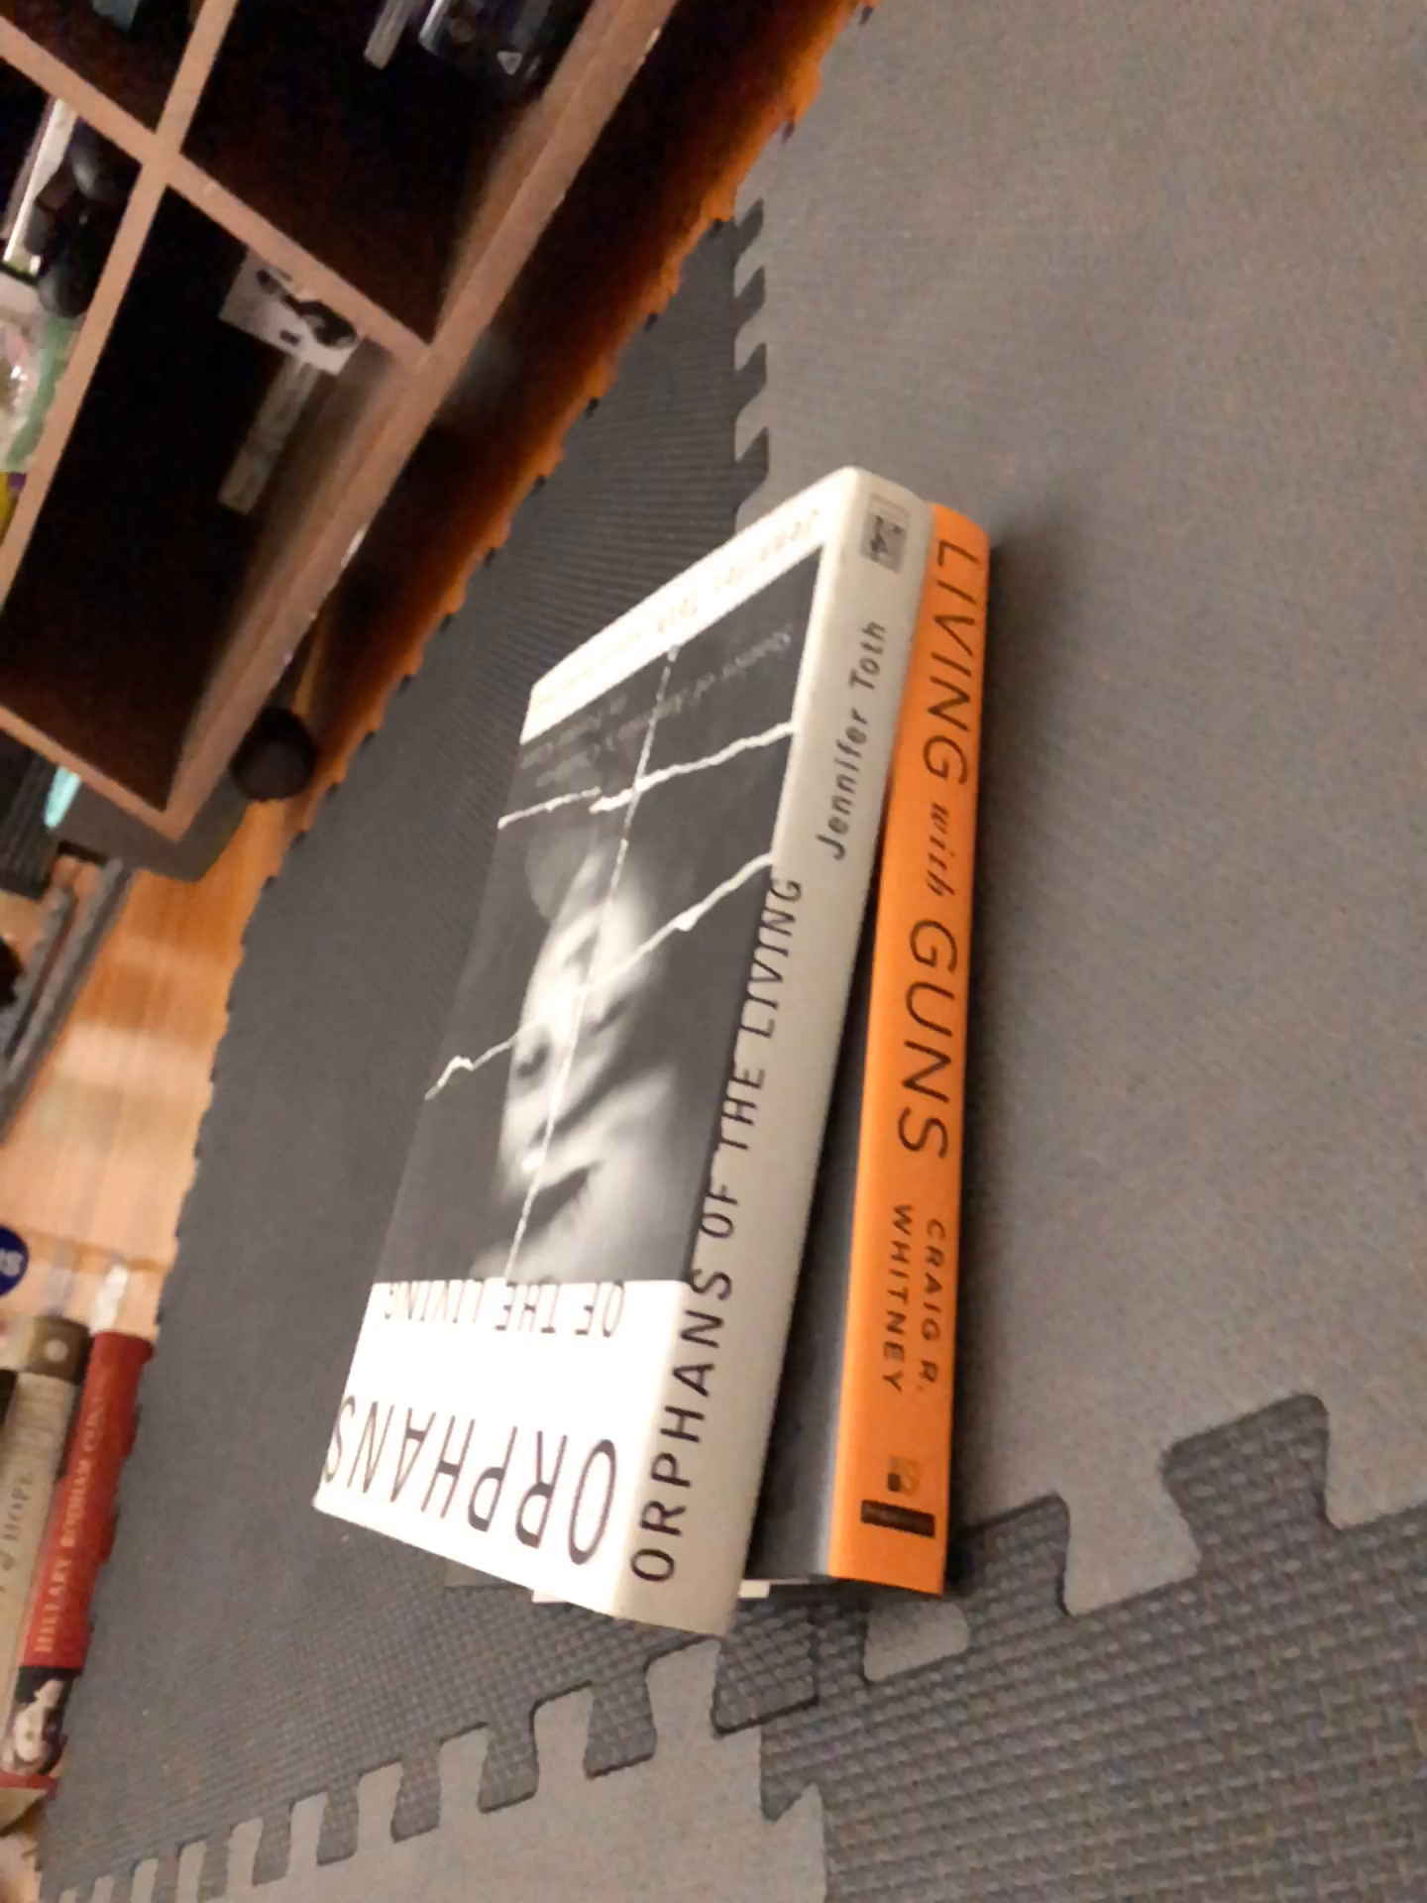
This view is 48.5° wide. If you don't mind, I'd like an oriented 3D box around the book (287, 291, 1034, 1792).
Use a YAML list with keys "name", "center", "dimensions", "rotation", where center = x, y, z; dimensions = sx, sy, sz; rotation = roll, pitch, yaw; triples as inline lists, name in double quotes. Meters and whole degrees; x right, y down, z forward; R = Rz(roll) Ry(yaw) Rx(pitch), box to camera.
- name: "book"
  center: [-0.018, 0.014, 0.364]
  dimensions: [0.181, 0.030, 0.280]
  rotation: [-20, 53, 57]

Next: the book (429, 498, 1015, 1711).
- name: "book"
  center: [0.003, 0.038, 0.375]
  dimensions: [0.161, 0.030, 0.250]
  rotation: [-33, 42, 50]
